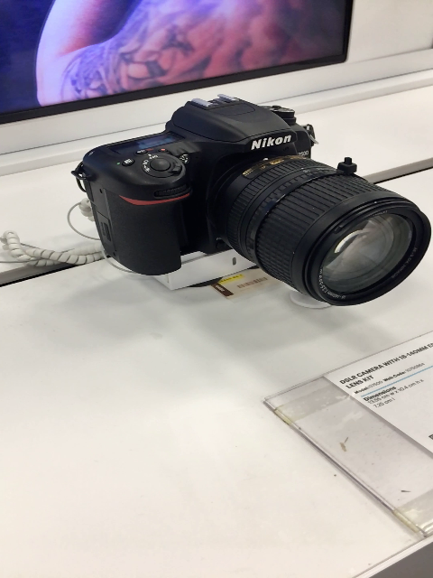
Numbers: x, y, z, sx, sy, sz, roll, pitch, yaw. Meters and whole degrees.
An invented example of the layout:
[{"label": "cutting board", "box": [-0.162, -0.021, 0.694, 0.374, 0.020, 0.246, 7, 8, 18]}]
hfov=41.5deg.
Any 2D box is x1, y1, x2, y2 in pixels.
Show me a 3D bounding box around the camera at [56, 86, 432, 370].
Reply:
[{"label": "camera", "box": [0.017, -0.050, 0.348, 0.147, 0.092, 0.170, -20, 40, -21]}]
